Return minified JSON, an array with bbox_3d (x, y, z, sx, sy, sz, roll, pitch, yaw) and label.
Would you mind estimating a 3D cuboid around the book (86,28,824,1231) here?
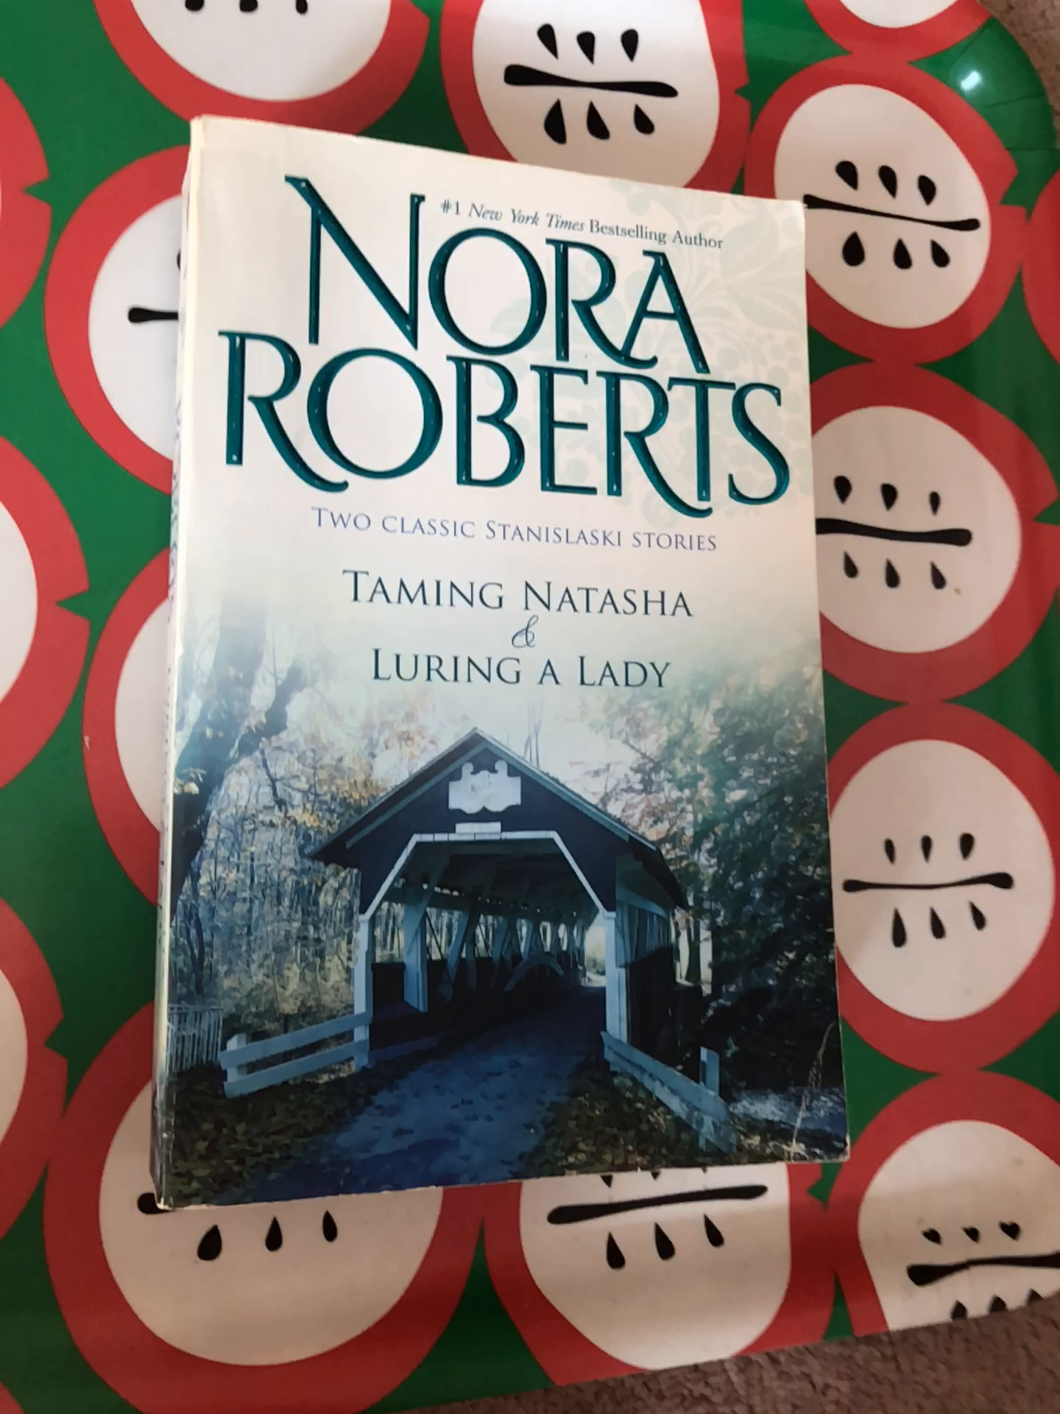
[{"bbox_3d":[-0.013,-0.016,0.250,0.140,0.040,0.220,2,84,-14],"label":"book"}]
